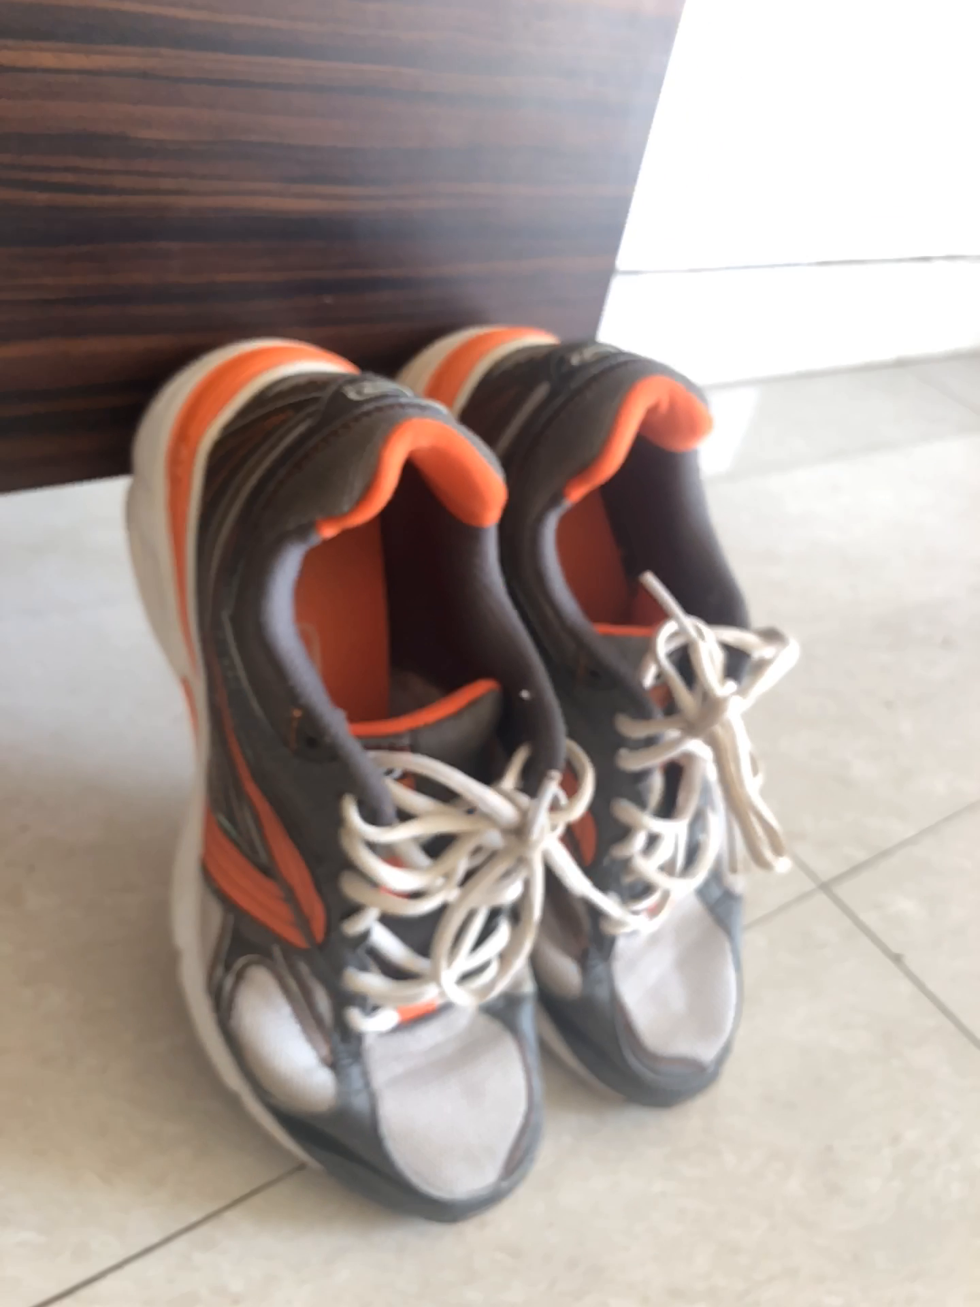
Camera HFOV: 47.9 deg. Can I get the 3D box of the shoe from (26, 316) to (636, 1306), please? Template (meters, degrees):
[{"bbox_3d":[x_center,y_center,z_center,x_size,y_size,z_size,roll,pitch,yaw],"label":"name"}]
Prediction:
[{"bbox_3d":[-0.035,0.042,0.342,0.121,0.269,0.100,-22,27,-39],"label":"shoe"}]

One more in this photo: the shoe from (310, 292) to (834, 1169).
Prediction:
[{"bbox_3d":[0.036,0.017,0.389,0.120,0.259,0.110,-19,23,-32],"label":"shoe"}]
